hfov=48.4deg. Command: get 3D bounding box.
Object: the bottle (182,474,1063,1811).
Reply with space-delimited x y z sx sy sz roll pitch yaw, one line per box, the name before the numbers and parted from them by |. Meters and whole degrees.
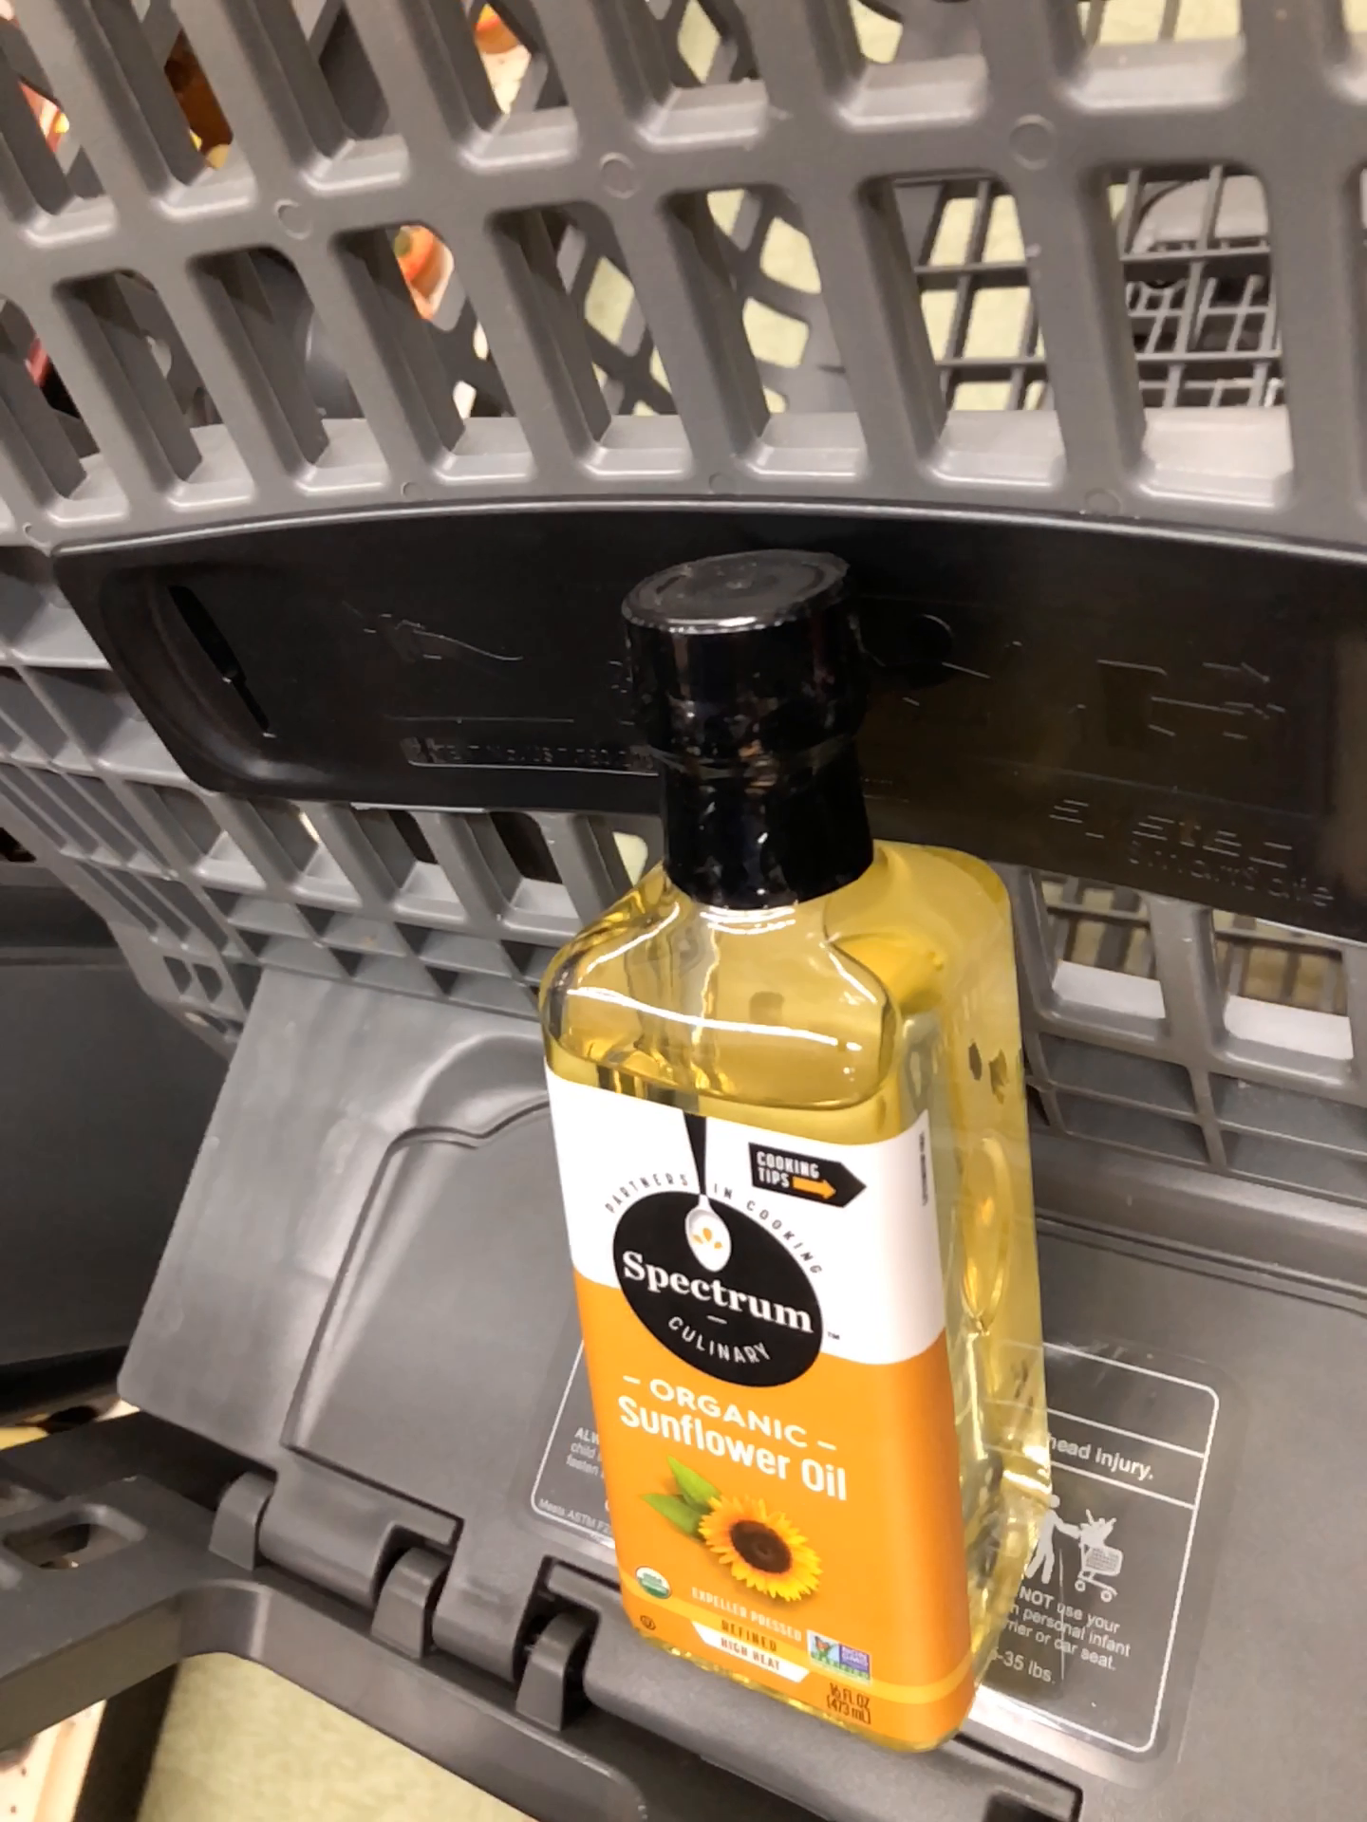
bottle | 0.007 0.041 0.243 0.080 0.200 0.070 8 36 29
